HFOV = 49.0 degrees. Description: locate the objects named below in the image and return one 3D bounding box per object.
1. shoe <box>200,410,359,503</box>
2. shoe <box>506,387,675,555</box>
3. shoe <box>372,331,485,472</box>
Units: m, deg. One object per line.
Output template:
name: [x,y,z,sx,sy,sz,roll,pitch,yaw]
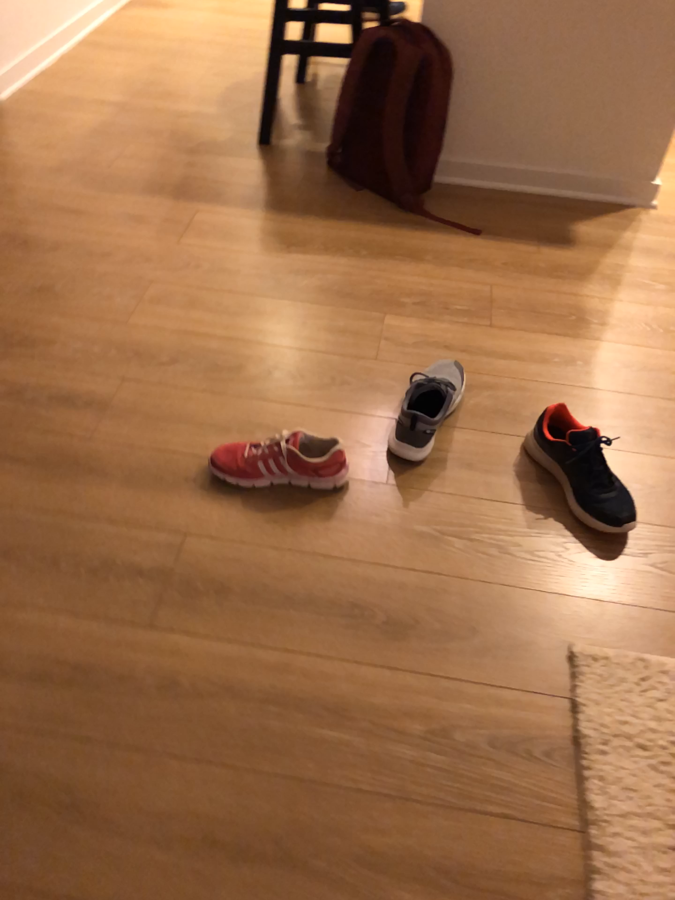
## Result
shoe: [-0.104,0.012,1.396,0.280,0.090,0.131,4,45,0]
shoe: [0.474,0.029,1.414,0.130,0.099,0.321,-16,48,-19]
shoe: [0.191,-0.108,1.516,0.130,0.080,0.322,18,47,14]
